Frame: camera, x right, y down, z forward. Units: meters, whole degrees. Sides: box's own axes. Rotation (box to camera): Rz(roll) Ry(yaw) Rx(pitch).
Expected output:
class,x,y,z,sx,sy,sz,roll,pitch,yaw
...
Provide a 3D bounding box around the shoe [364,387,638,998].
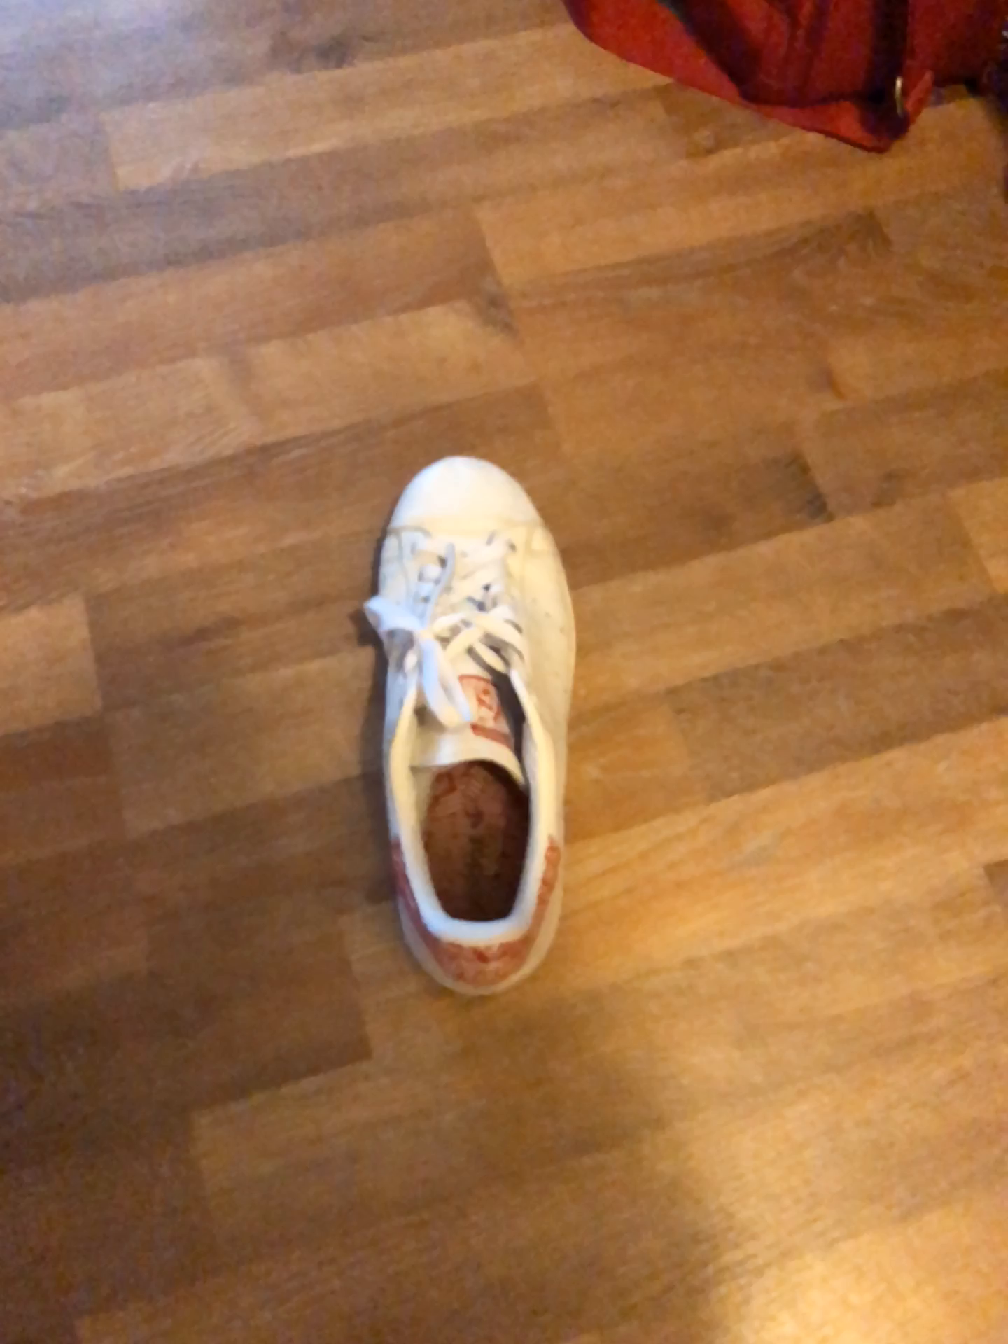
class,x,y,z,sx,sy,sz,roll,pitch,yaw
shoe,-0.008,0.010,0.508,0.100,0.110,0.251,-2,68,-3
